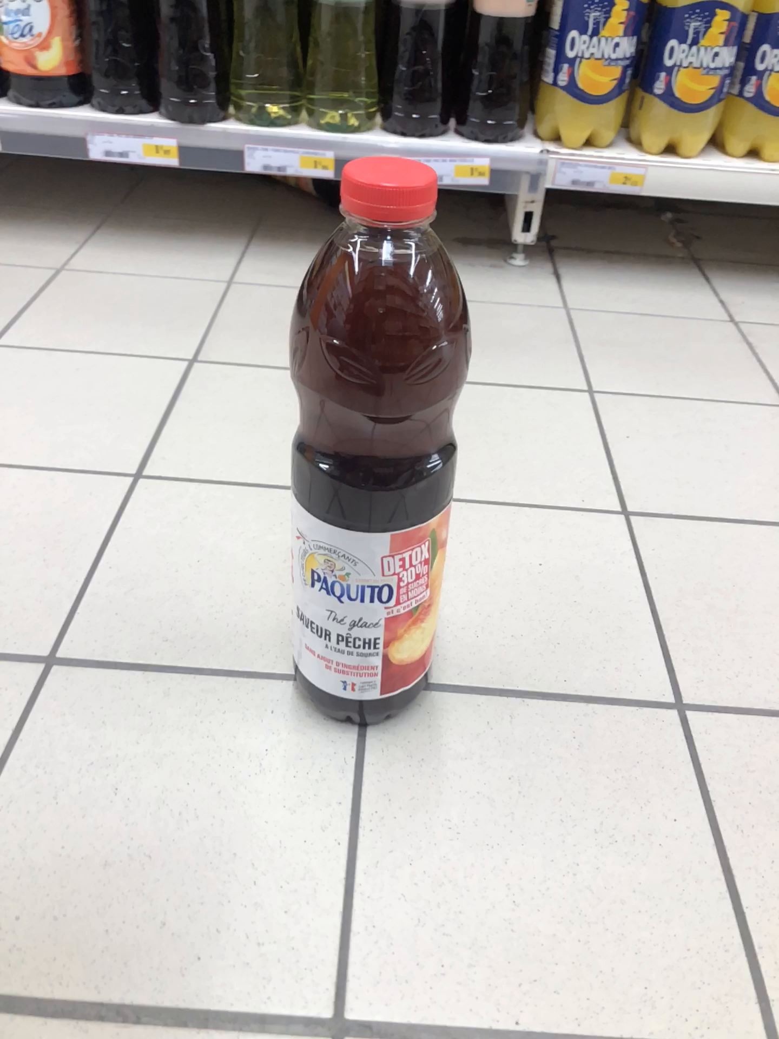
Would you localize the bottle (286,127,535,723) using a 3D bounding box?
[{"bbox_3d":[-0.003,-0.029,0.431,0.090,0.288,0.091,3,37,-2],"label":"bottle"}]
